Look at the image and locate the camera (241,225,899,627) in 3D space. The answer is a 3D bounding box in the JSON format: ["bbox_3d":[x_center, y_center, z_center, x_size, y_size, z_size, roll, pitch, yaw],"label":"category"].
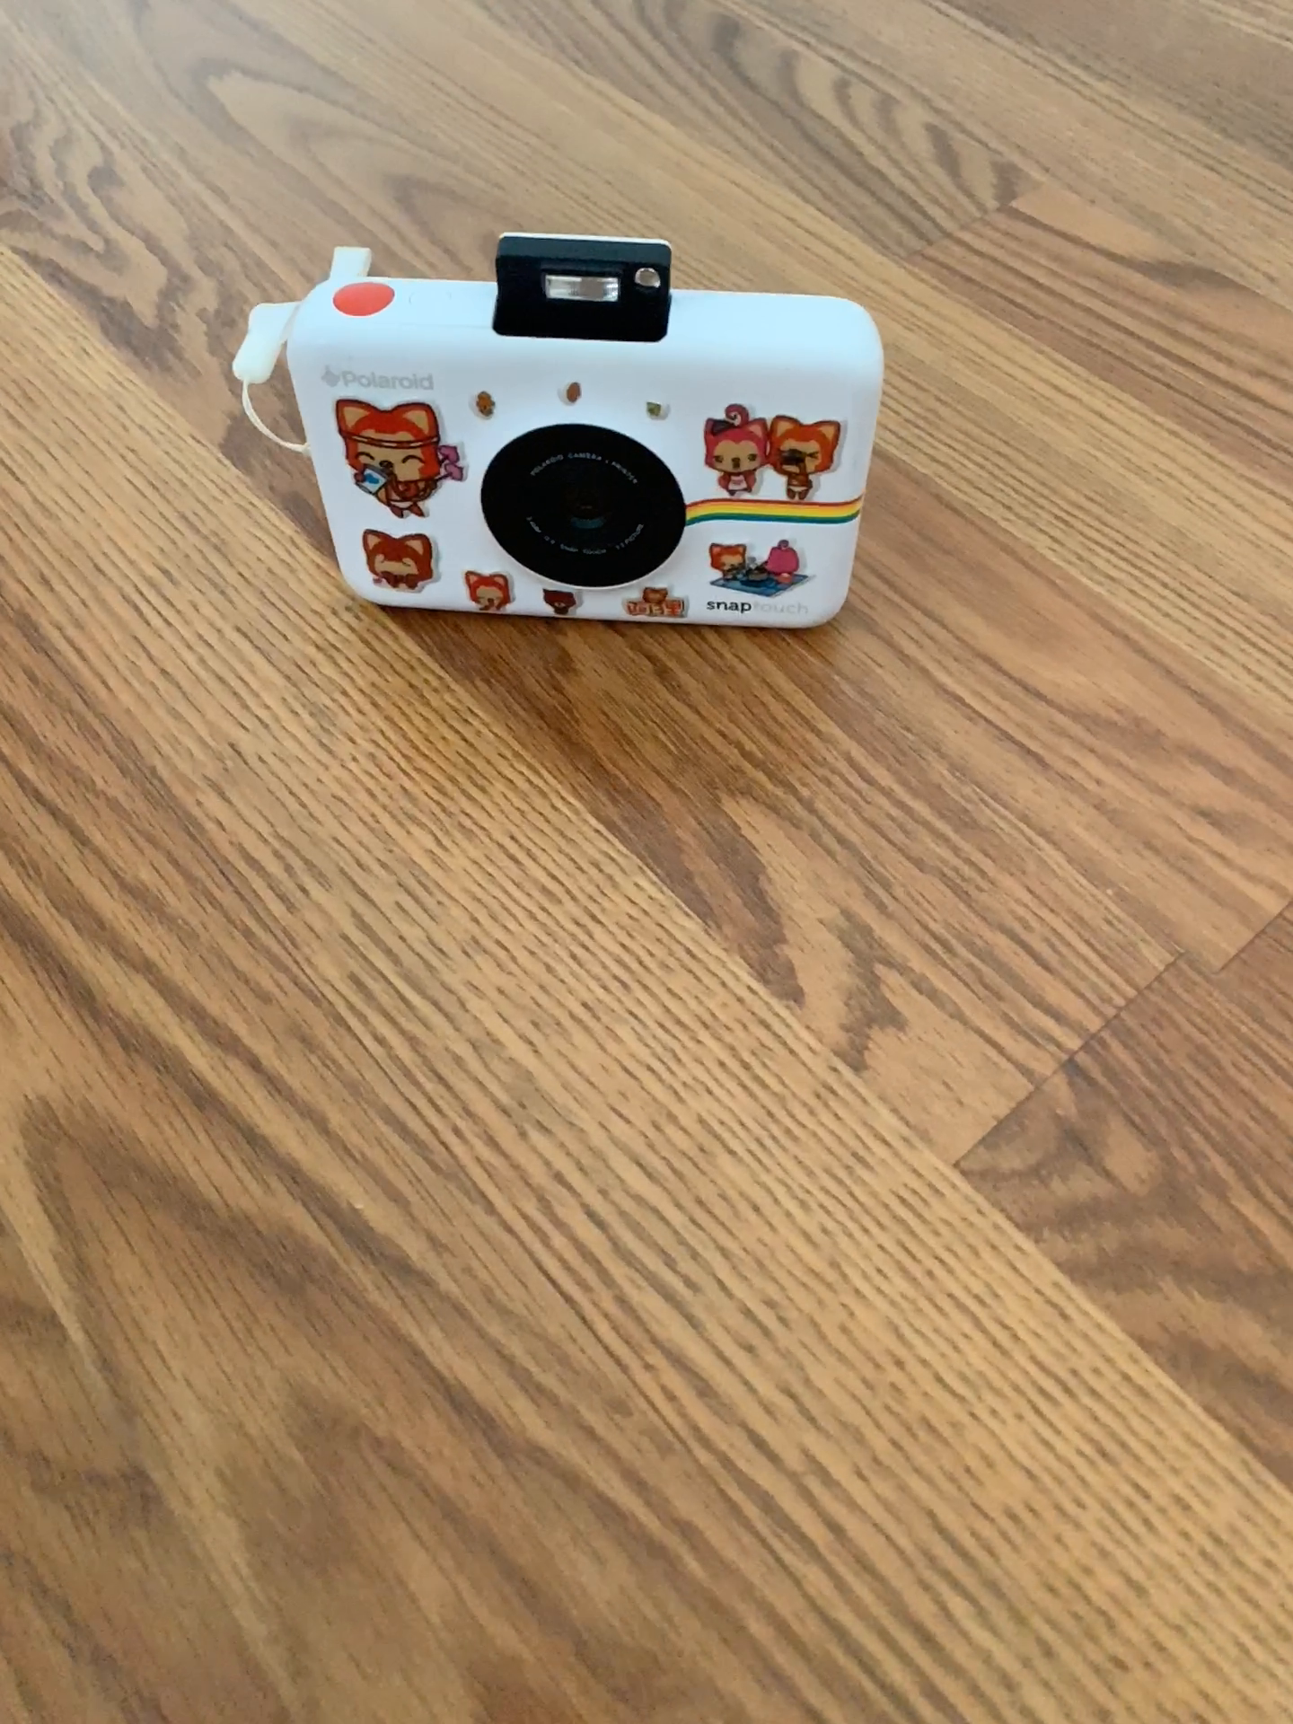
[{"bbox_3d":[-0.014,-0.093,0.293,0.125,0.081,0.026,3,56,3],"label":"camera"}]
